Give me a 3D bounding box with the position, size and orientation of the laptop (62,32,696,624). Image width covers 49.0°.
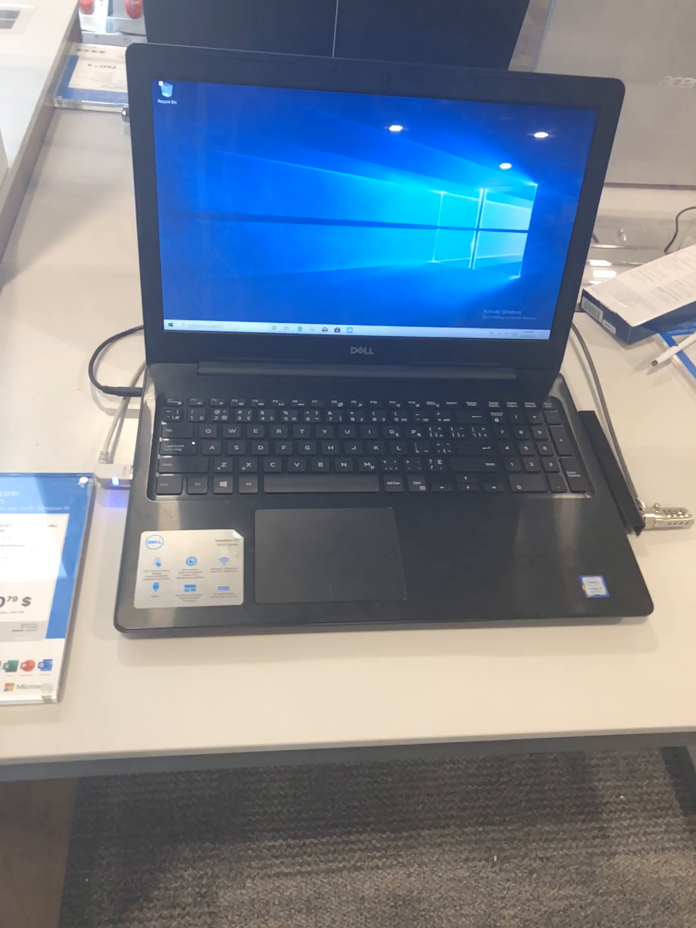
[{"bbox_3d":[0.029,-0.101,0.545,0.363,0.224,0.337,0,51,-7],"label":"laptop"}]
